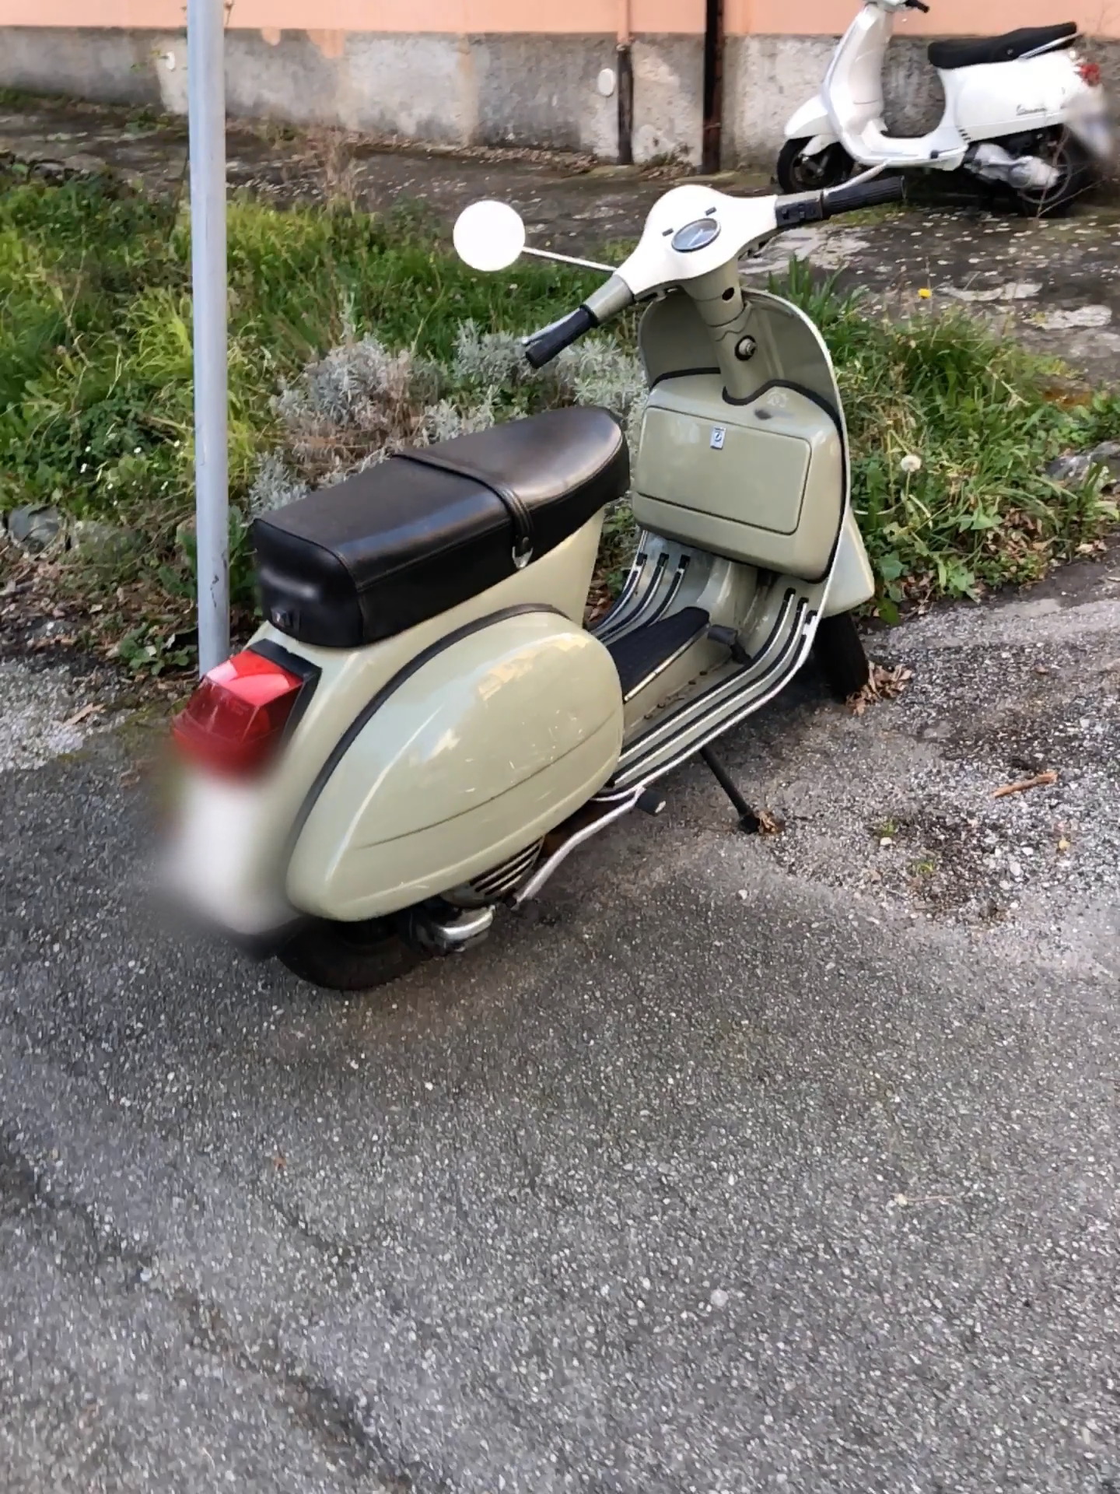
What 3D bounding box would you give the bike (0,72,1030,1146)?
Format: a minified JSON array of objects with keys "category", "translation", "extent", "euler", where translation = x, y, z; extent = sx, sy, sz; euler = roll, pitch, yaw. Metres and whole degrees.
[{"category":"bike","translation":[0.052,-0.356,1.965],"extent":[0.622,1.028,1.446],"euler":[24,44,33]}]
